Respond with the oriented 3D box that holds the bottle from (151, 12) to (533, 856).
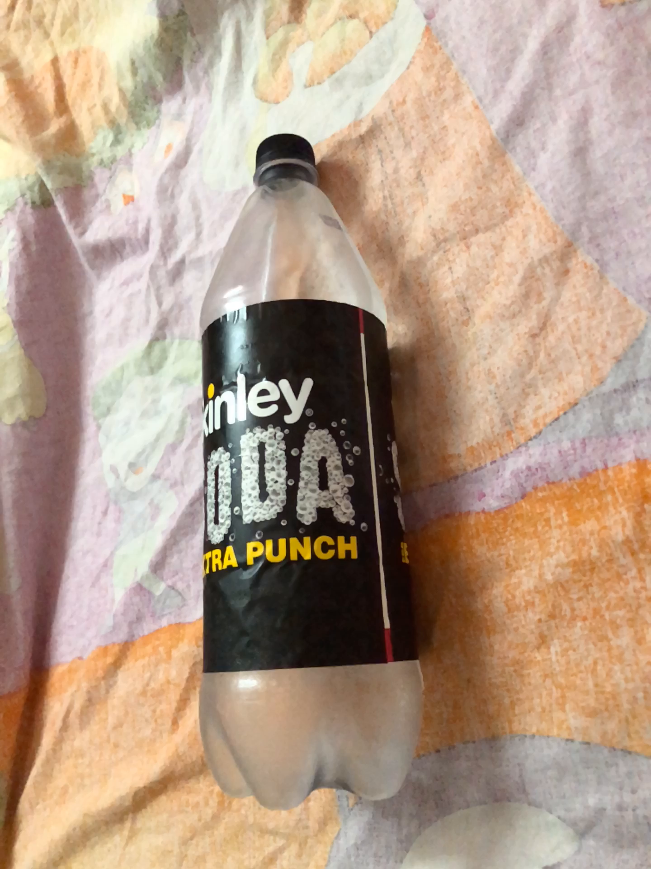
[{"bbox_3d":[0.000,-0.004,0.287,0.090,0.080,0.280,-15,74,31],"label":"bottle"}]
